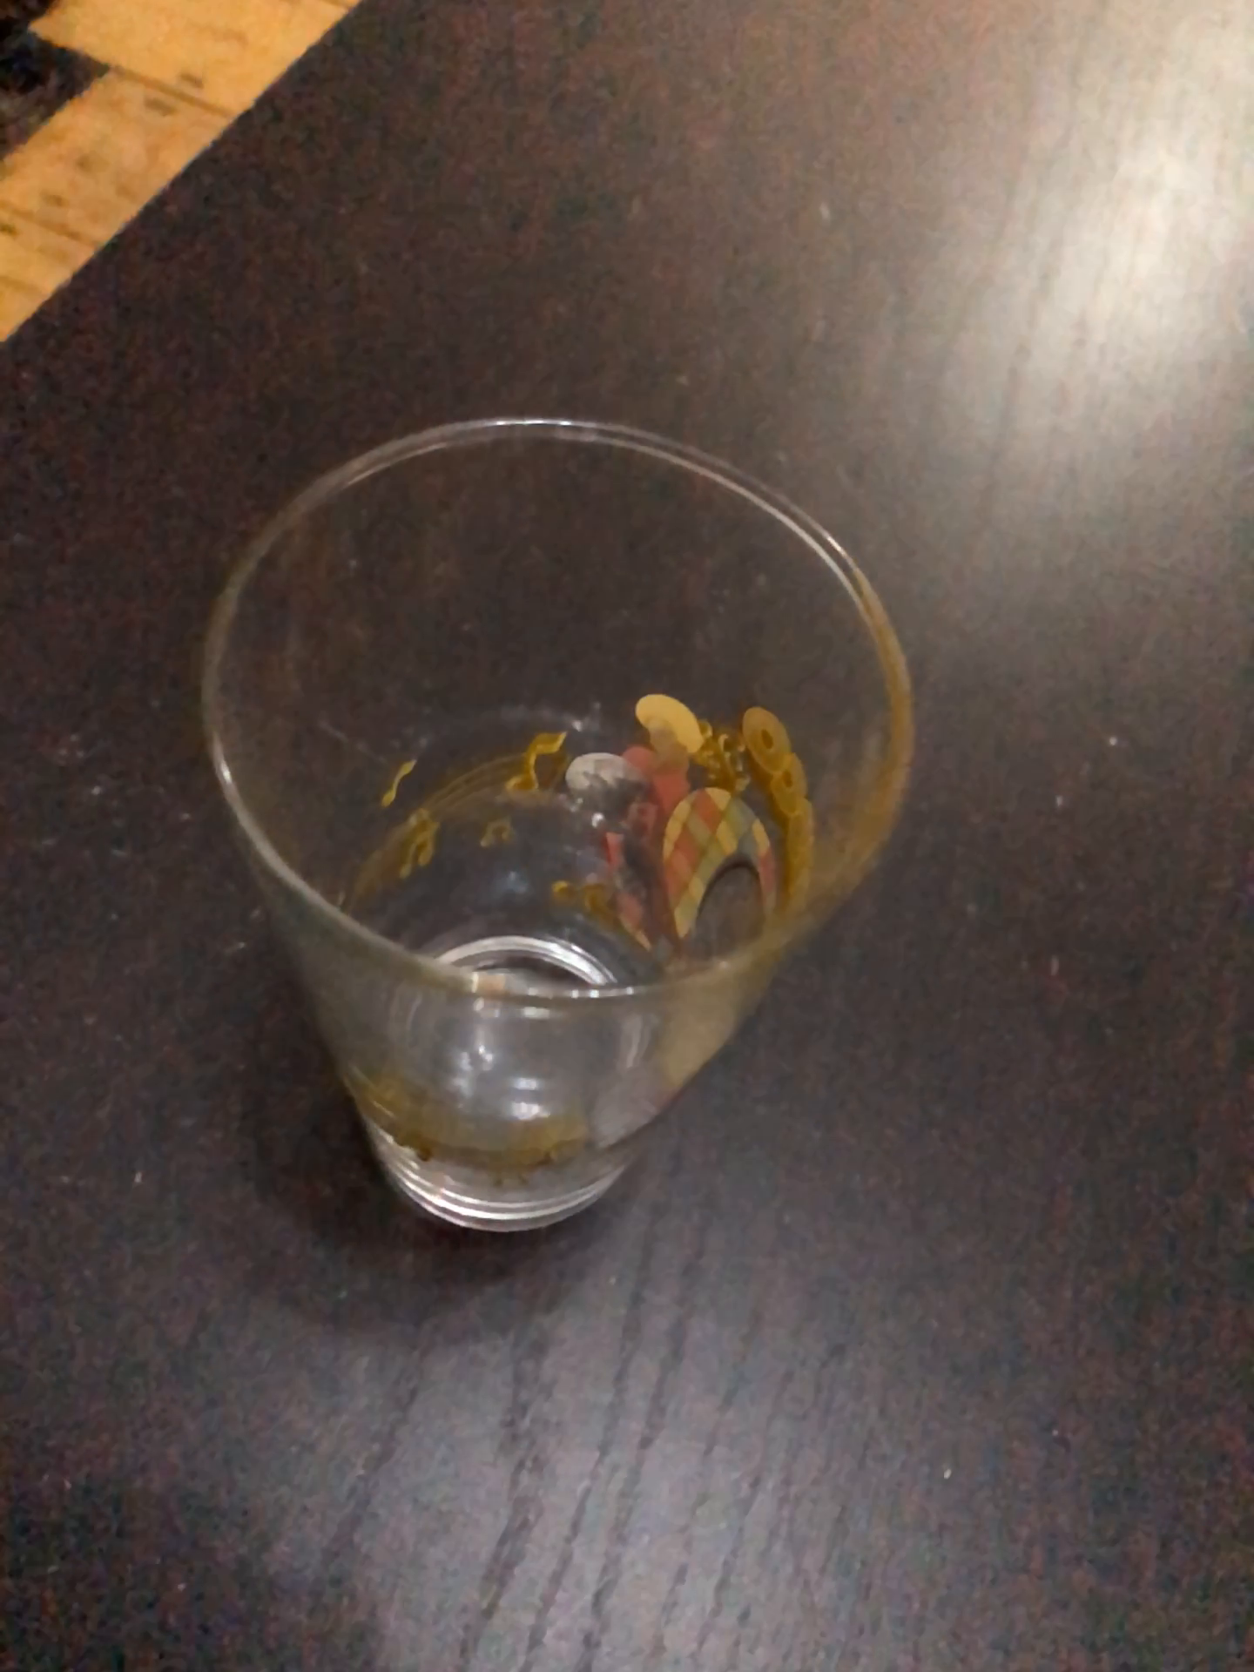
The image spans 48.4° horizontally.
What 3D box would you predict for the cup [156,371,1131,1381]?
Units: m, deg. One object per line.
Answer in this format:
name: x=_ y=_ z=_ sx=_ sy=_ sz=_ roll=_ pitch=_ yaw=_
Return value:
cup: x=-0.008 y=0.012 z=0.192 sx=0.080 sy=0.109 sz=0.080 roll=4 pitch=59 yaw=-7
